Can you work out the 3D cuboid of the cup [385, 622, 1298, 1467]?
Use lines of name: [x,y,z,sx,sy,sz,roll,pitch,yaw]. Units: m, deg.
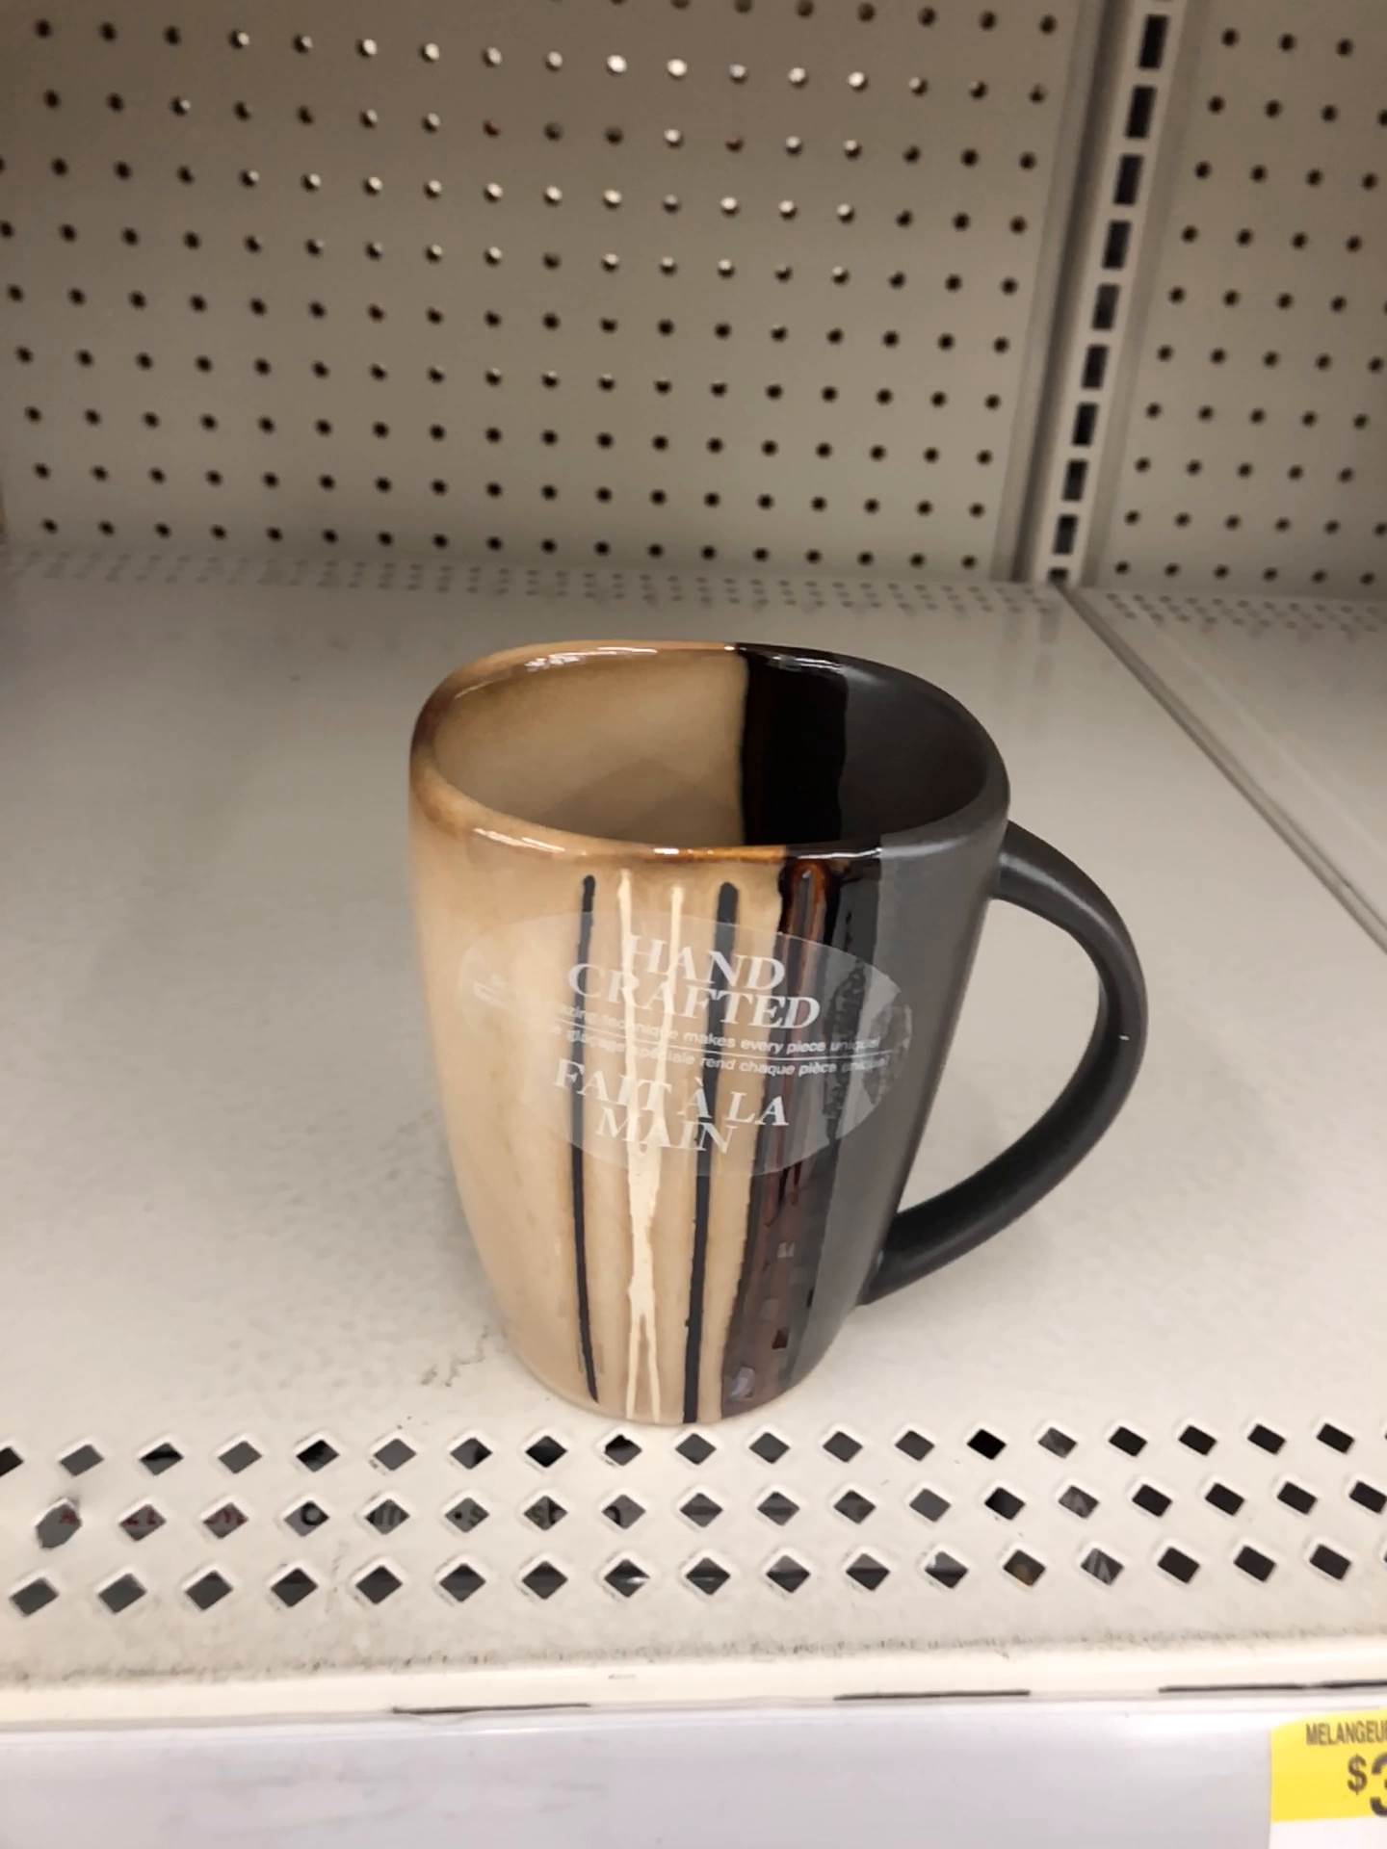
cup: [0.014,0.017,0.264,0.120,0.110,0.087,0,29,-6]
